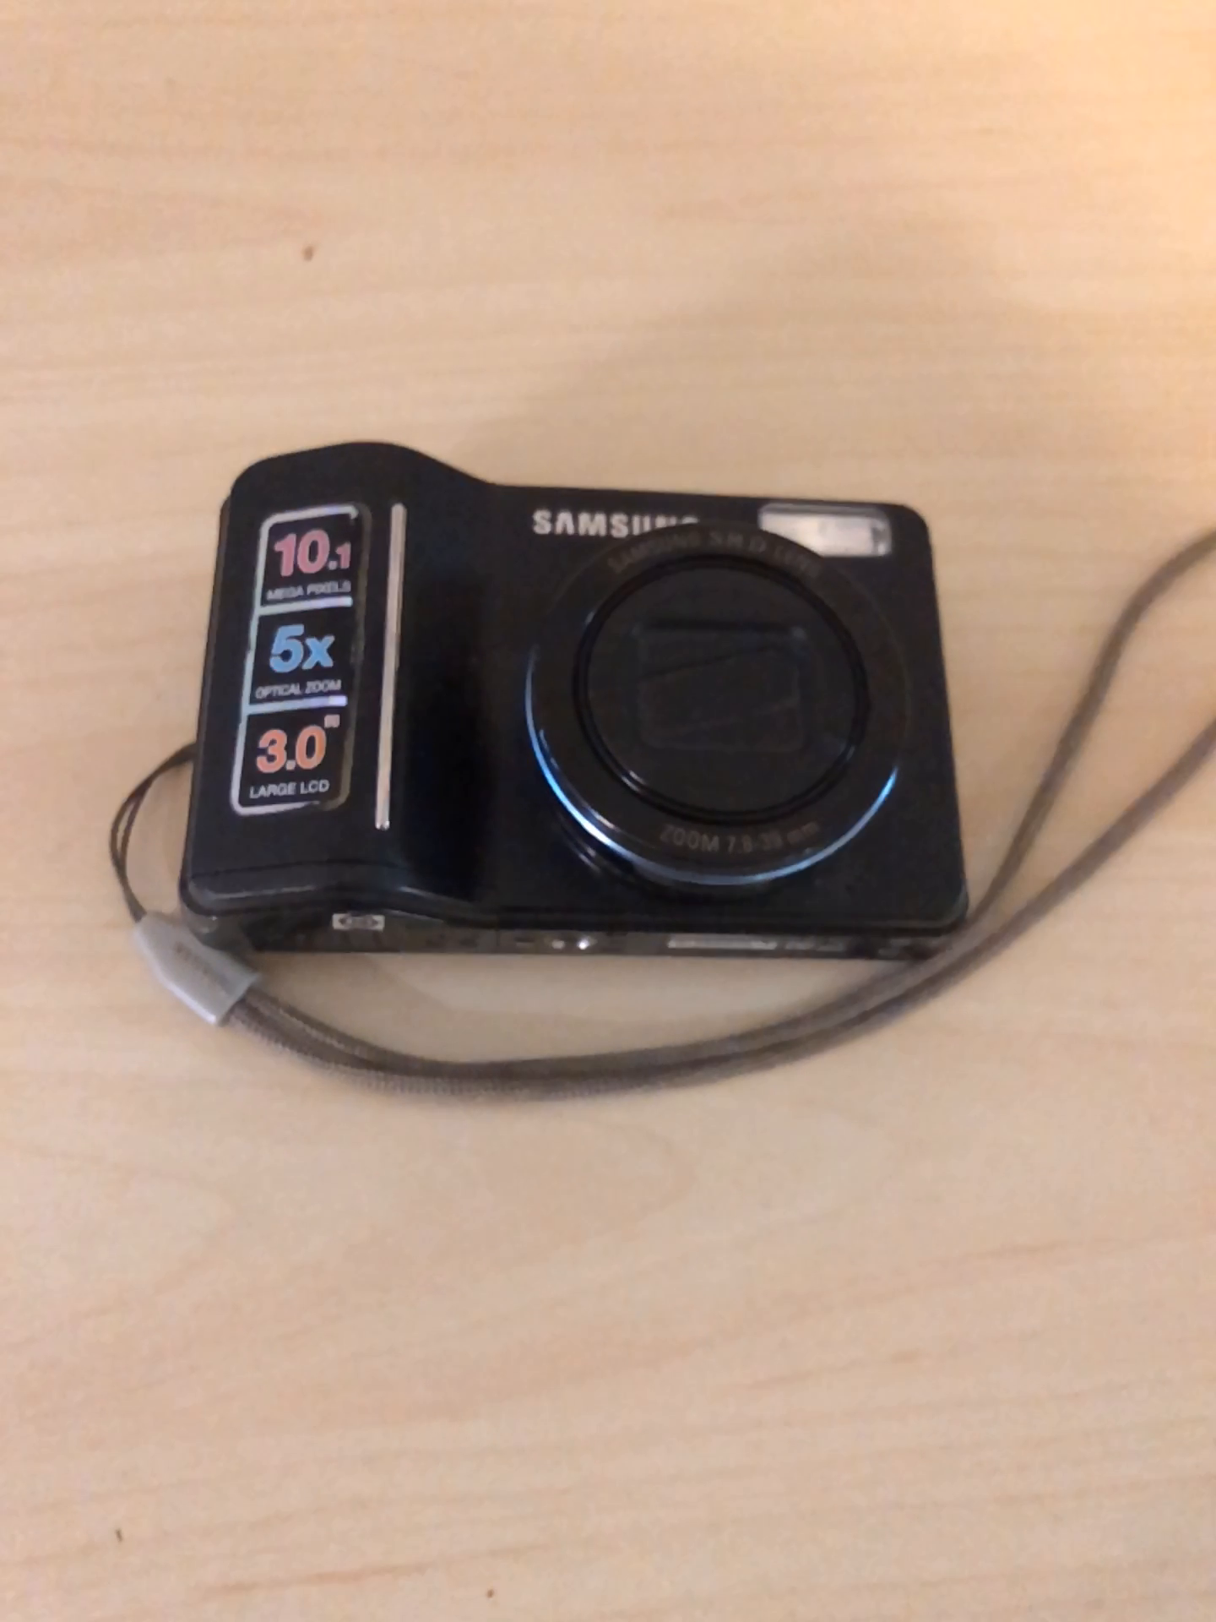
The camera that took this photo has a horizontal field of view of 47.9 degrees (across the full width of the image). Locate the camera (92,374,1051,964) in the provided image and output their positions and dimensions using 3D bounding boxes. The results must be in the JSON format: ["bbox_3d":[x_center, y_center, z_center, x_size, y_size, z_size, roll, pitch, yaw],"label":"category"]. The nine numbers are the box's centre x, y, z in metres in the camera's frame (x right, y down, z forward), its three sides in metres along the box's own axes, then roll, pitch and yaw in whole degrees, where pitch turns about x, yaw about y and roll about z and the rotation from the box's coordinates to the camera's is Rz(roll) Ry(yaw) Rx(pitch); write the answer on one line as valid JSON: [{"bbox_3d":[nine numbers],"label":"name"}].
[{"bbox_3d":[-0.004,-0.019,0.184,0.110,0.030,0.070,1,68,-2],"label":"camera"}]
